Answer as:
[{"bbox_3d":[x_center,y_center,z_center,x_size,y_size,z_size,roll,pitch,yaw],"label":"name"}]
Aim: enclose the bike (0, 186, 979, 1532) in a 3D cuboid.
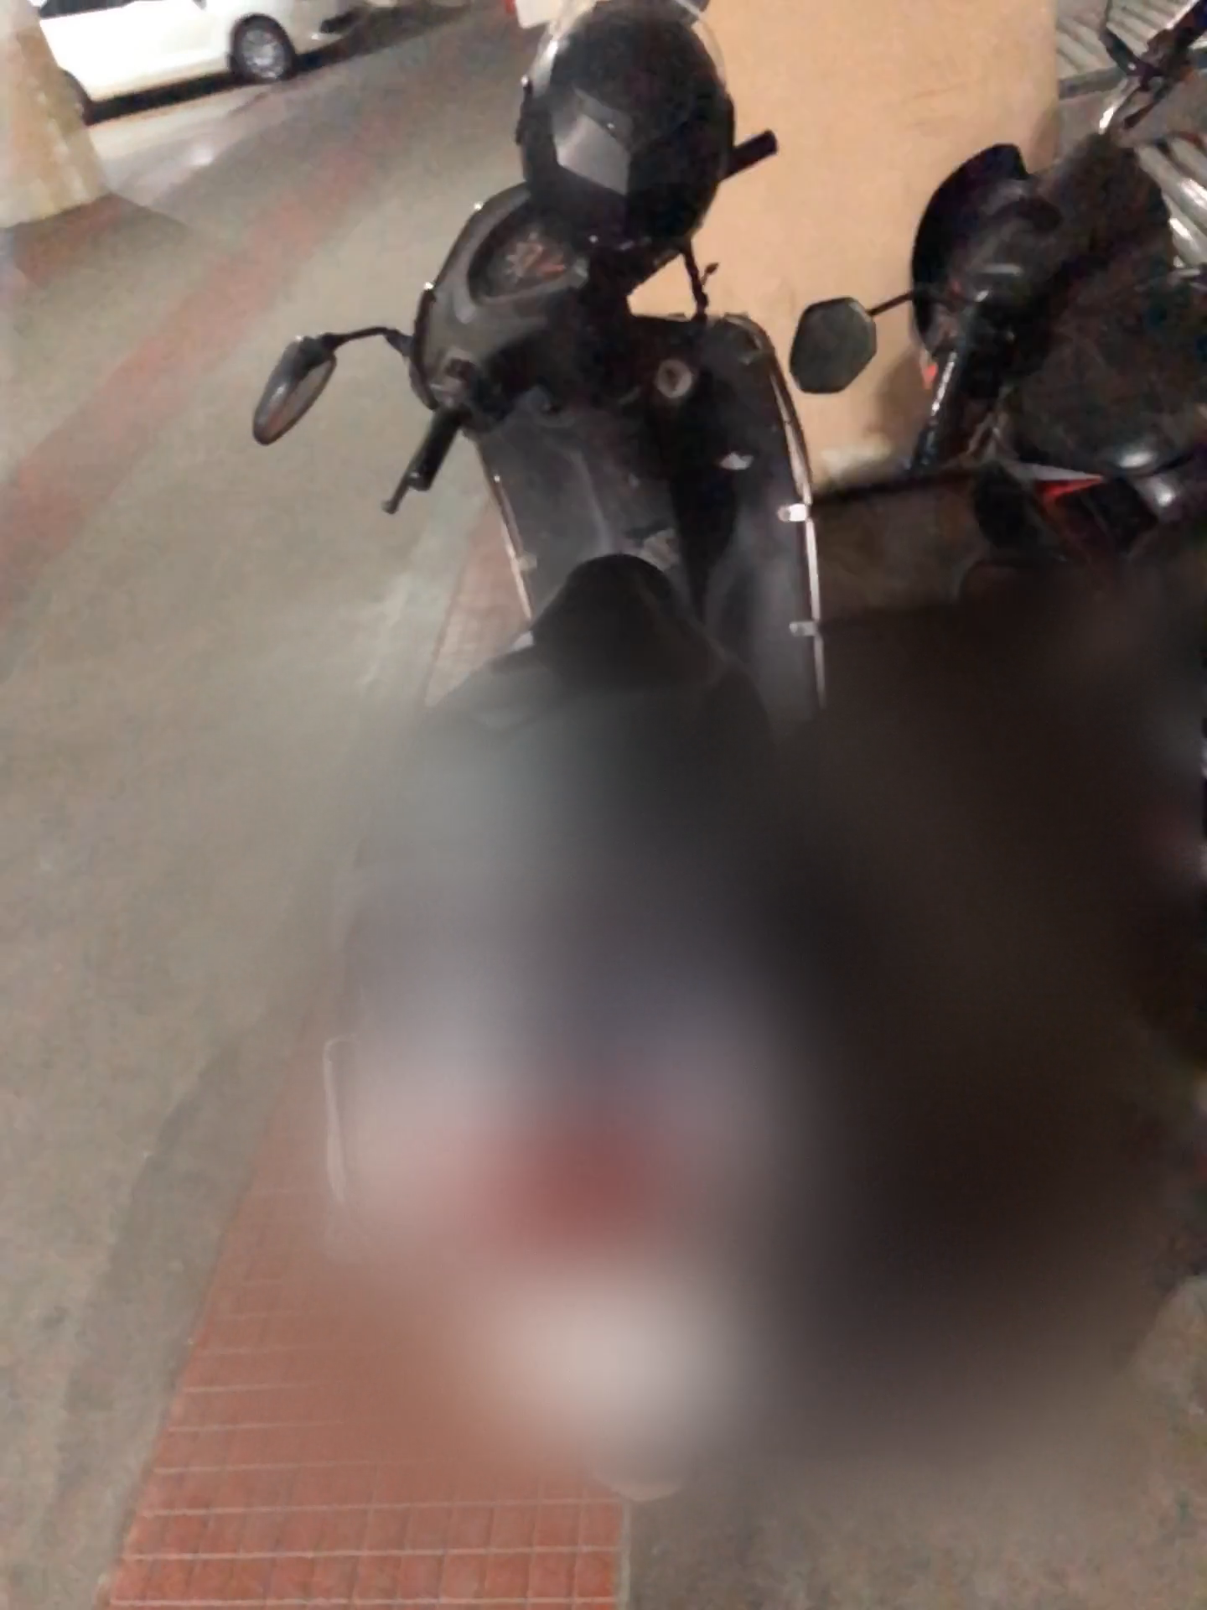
[{"bbox_3d":[-0.064,-0.077,1.671,0.594,0.988,1.502,-11,33,7],"label":"bike"}]
